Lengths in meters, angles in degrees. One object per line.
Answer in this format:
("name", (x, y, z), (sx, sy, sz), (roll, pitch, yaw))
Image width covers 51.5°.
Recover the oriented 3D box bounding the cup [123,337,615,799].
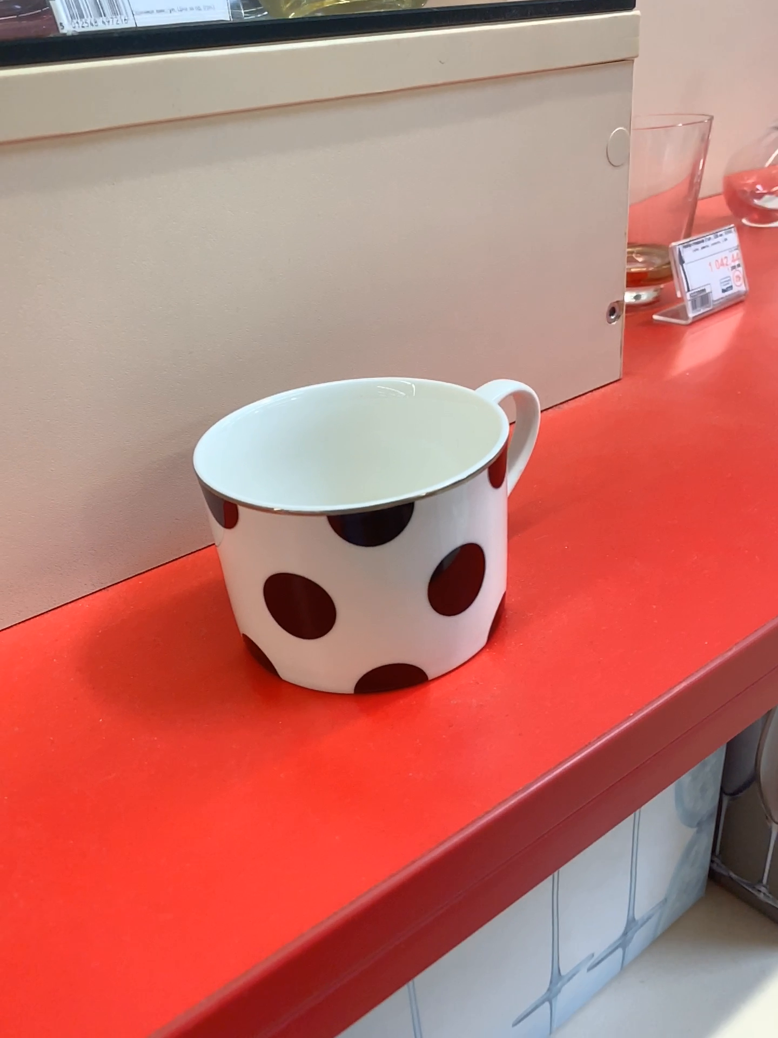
("cup", (-0.002, 0.003, 0.225), (0.100, 0.070, 0.080), (-27, 35, -32))
